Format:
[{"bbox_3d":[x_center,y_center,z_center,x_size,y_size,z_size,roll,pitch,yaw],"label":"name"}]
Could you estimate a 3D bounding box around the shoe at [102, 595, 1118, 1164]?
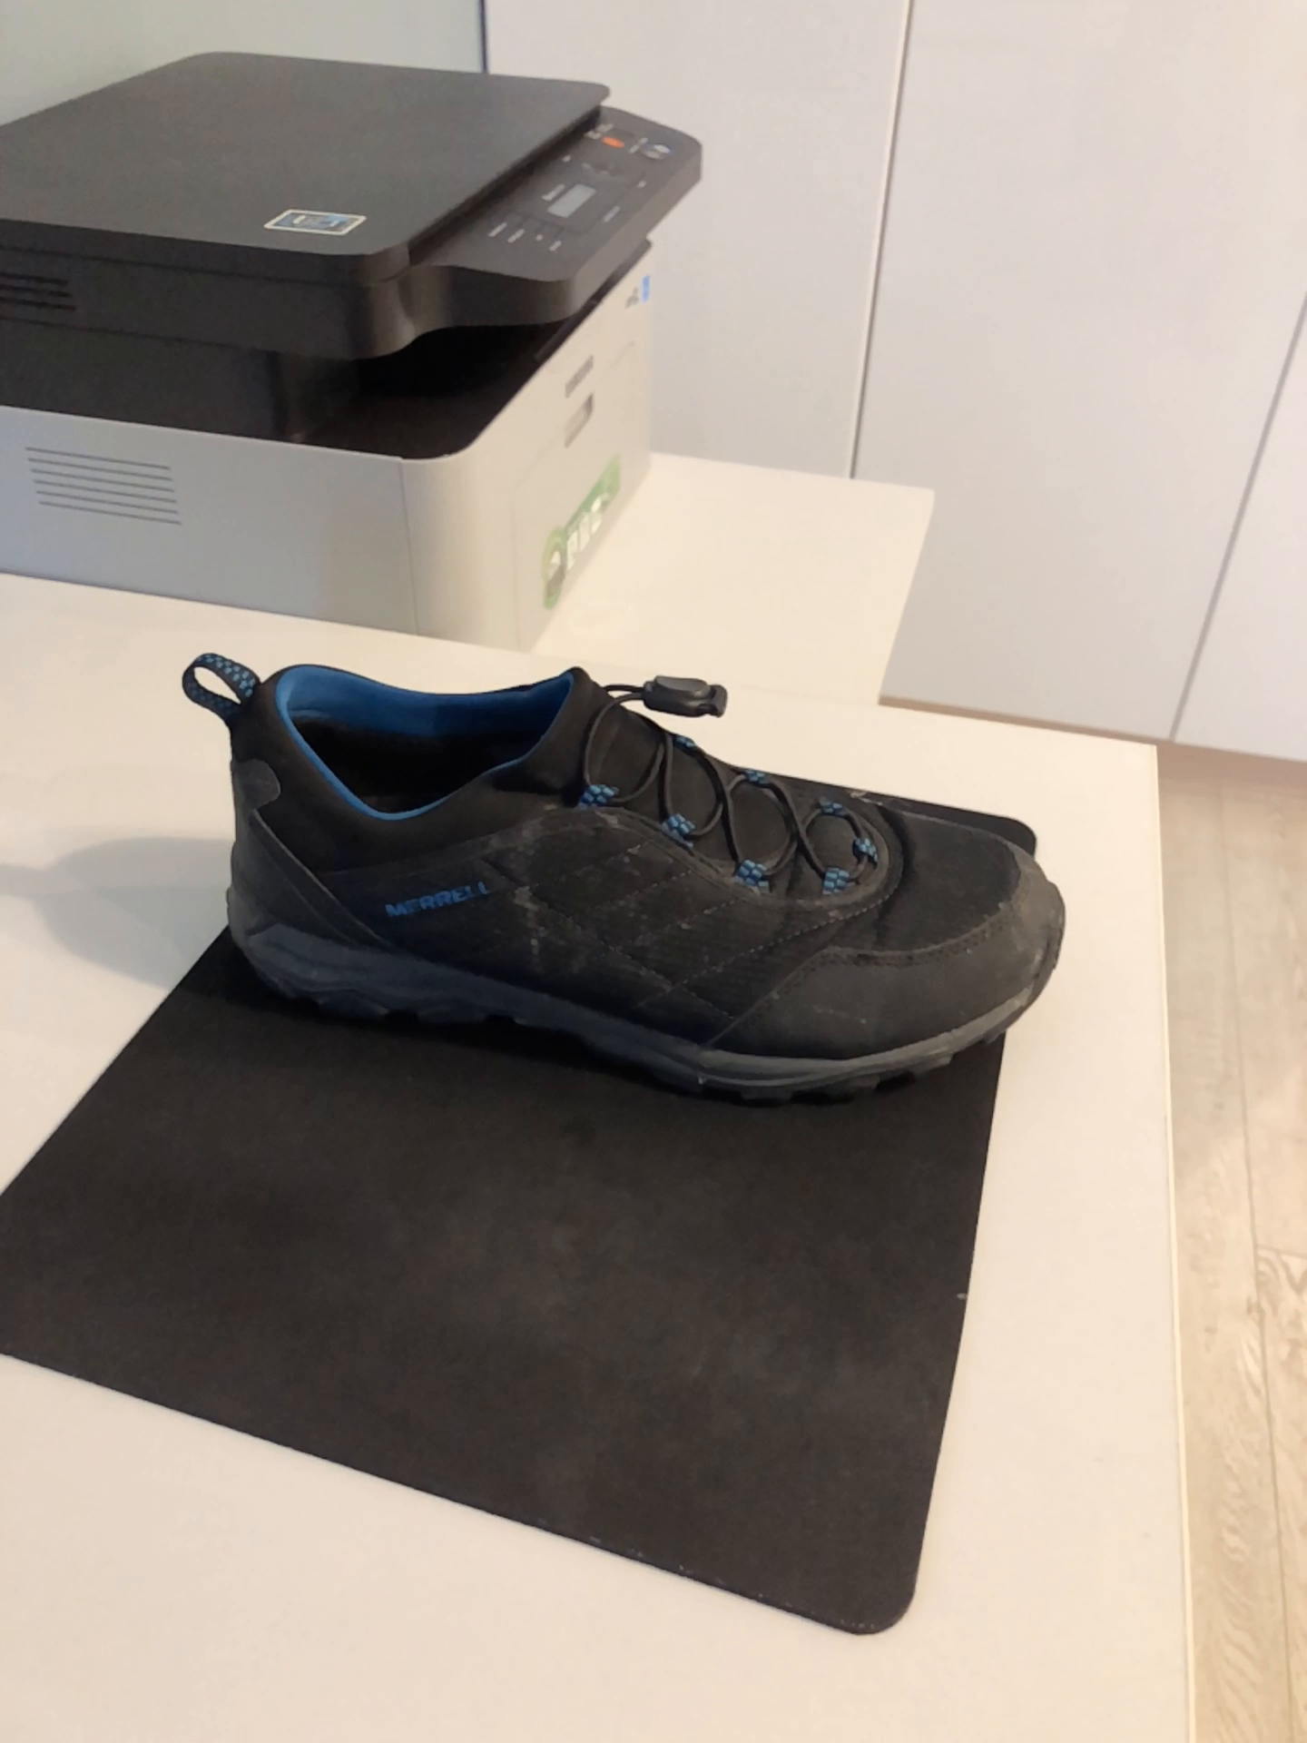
[{"bbox_3d":[-0.010,-0.003,0.503,0.300,0.109,0.131,6,39,5],"label":"shoe"}]
